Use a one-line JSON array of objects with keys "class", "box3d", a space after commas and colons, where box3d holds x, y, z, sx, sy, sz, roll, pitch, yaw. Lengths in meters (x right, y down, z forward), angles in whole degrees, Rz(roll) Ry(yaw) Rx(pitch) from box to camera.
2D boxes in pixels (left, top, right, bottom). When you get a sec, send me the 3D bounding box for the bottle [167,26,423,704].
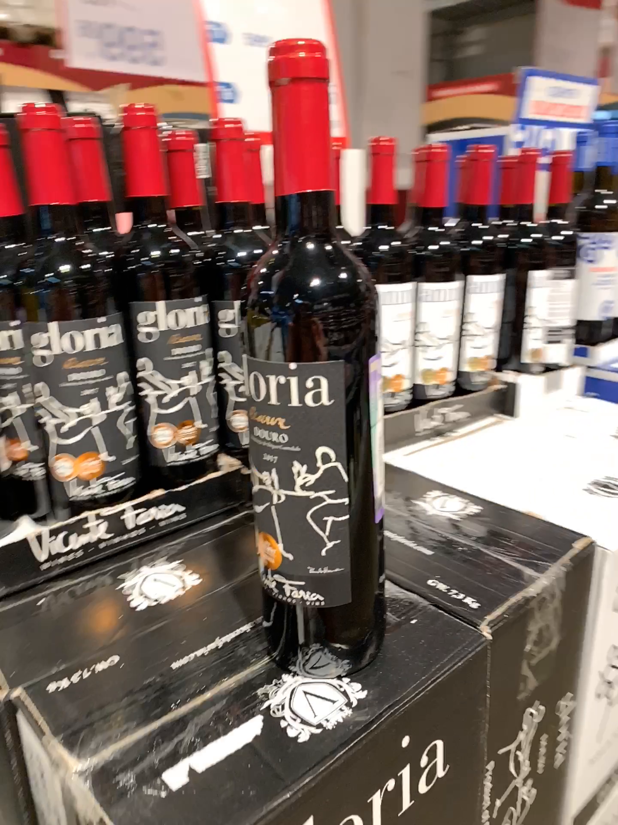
[{"class": "bottle", "box3d": [-0.003, -0.015, 0.349, 0.090, 0.319, 0.080, 12, 22, 35]}]
